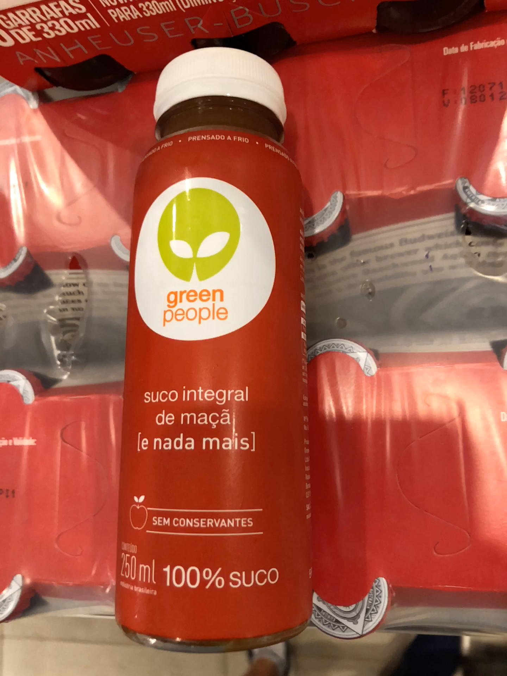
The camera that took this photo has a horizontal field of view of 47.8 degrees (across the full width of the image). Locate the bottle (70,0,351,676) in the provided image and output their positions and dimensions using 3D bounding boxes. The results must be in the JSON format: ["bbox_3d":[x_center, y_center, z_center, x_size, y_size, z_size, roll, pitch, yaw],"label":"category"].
[{"bbox_3d":[-0.008,-0.014,0.158,0.060,0.040,0.180,-3,80,16],"label":"bottle"}]
